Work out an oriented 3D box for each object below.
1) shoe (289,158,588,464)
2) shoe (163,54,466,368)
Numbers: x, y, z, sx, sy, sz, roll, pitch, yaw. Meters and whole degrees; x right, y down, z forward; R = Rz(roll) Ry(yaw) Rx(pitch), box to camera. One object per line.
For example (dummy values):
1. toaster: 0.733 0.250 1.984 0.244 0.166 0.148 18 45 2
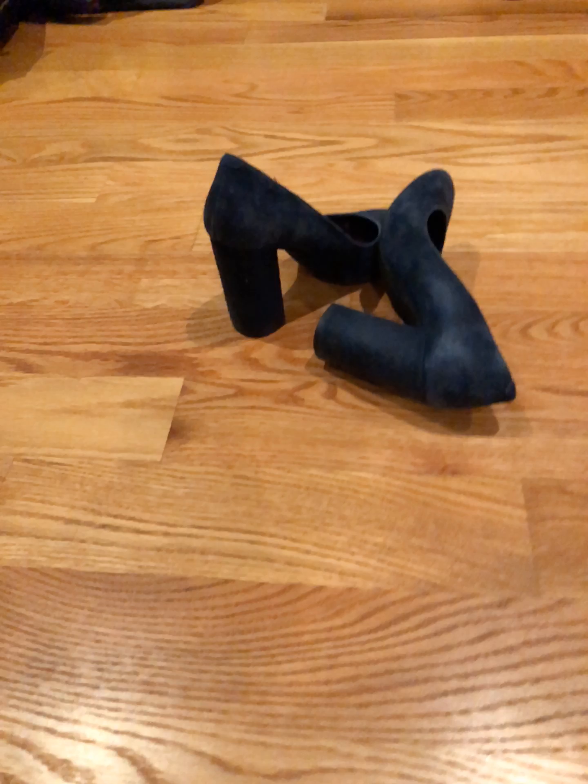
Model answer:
1. shoe: 0.119 -0.074 0.487 0.152 0.080 0.205 25 55 24
2. shoe: 0.026 -0.149 0.522 0.227 0.146 0.080 -36 55 -25
